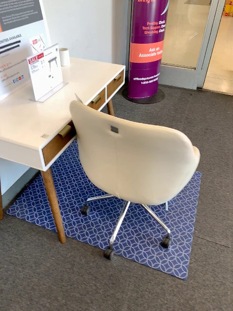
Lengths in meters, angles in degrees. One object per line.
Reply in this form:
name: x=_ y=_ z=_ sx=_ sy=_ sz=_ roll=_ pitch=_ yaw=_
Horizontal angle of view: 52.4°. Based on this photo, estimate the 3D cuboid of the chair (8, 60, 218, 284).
chair: x=0.045 y=0.034 z=1.233 sx=0.670 sy=0.736 sz=0.693 roll=16 pitch=42 yaw=16
